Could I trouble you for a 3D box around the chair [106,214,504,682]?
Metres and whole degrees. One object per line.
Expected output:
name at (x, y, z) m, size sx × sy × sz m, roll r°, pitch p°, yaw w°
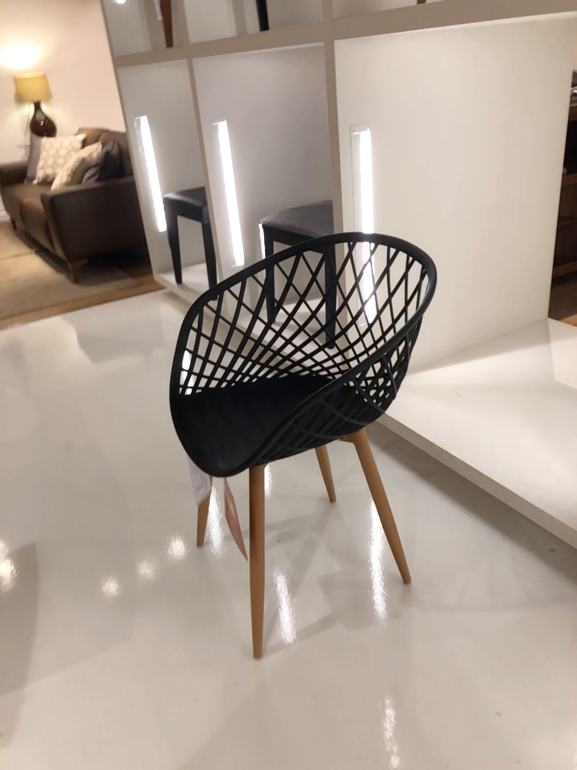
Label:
chair at (0.016, 0.068, 1.441) m, size 0.601 × 0.705 × 0.623 m, roll -16°, pitch 28°, yaw -20°
